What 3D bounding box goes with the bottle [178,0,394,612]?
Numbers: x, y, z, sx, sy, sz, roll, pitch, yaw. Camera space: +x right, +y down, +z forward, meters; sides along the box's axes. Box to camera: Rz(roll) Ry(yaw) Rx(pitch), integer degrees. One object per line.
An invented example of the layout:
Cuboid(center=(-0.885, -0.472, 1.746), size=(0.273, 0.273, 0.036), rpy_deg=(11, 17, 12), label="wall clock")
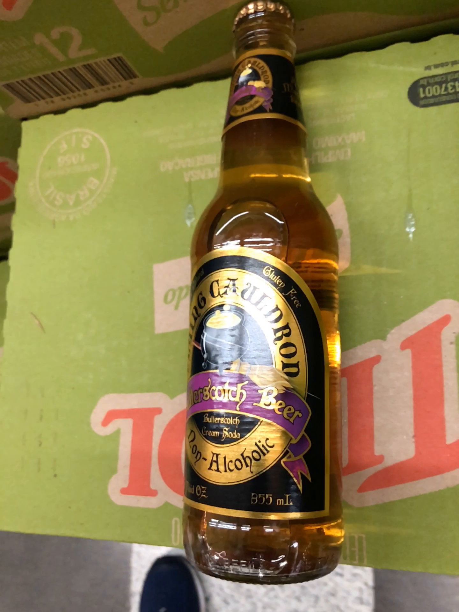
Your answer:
Cuboid(center=(0.024, -0.029, 0.212), size=(0.070, 0.050, 0.260), rpy_deg=(-3, 80, 18), label="bottle")
